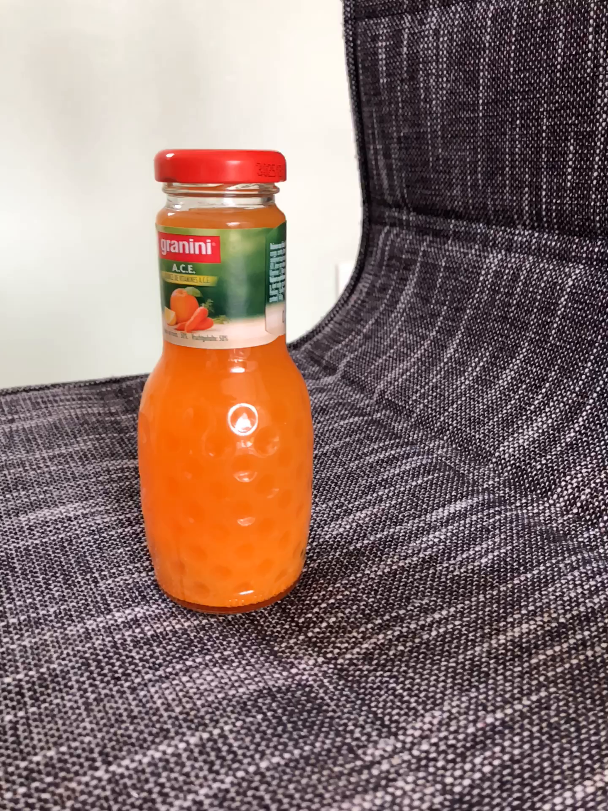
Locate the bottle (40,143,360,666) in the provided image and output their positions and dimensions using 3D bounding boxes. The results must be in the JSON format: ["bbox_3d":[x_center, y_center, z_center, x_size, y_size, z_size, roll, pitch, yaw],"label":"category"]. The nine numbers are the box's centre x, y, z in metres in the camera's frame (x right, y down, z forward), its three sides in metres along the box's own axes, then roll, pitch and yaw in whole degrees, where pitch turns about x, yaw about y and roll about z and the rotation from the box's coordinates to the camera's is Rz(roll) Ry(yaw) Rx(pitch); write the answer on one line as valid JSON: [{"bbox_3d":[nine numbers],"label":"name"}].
[{"bbox_3d":[-0.027,-0.005,0.223,0.070,0.149,0.060,12,25,32],"label":"bottle"}]
